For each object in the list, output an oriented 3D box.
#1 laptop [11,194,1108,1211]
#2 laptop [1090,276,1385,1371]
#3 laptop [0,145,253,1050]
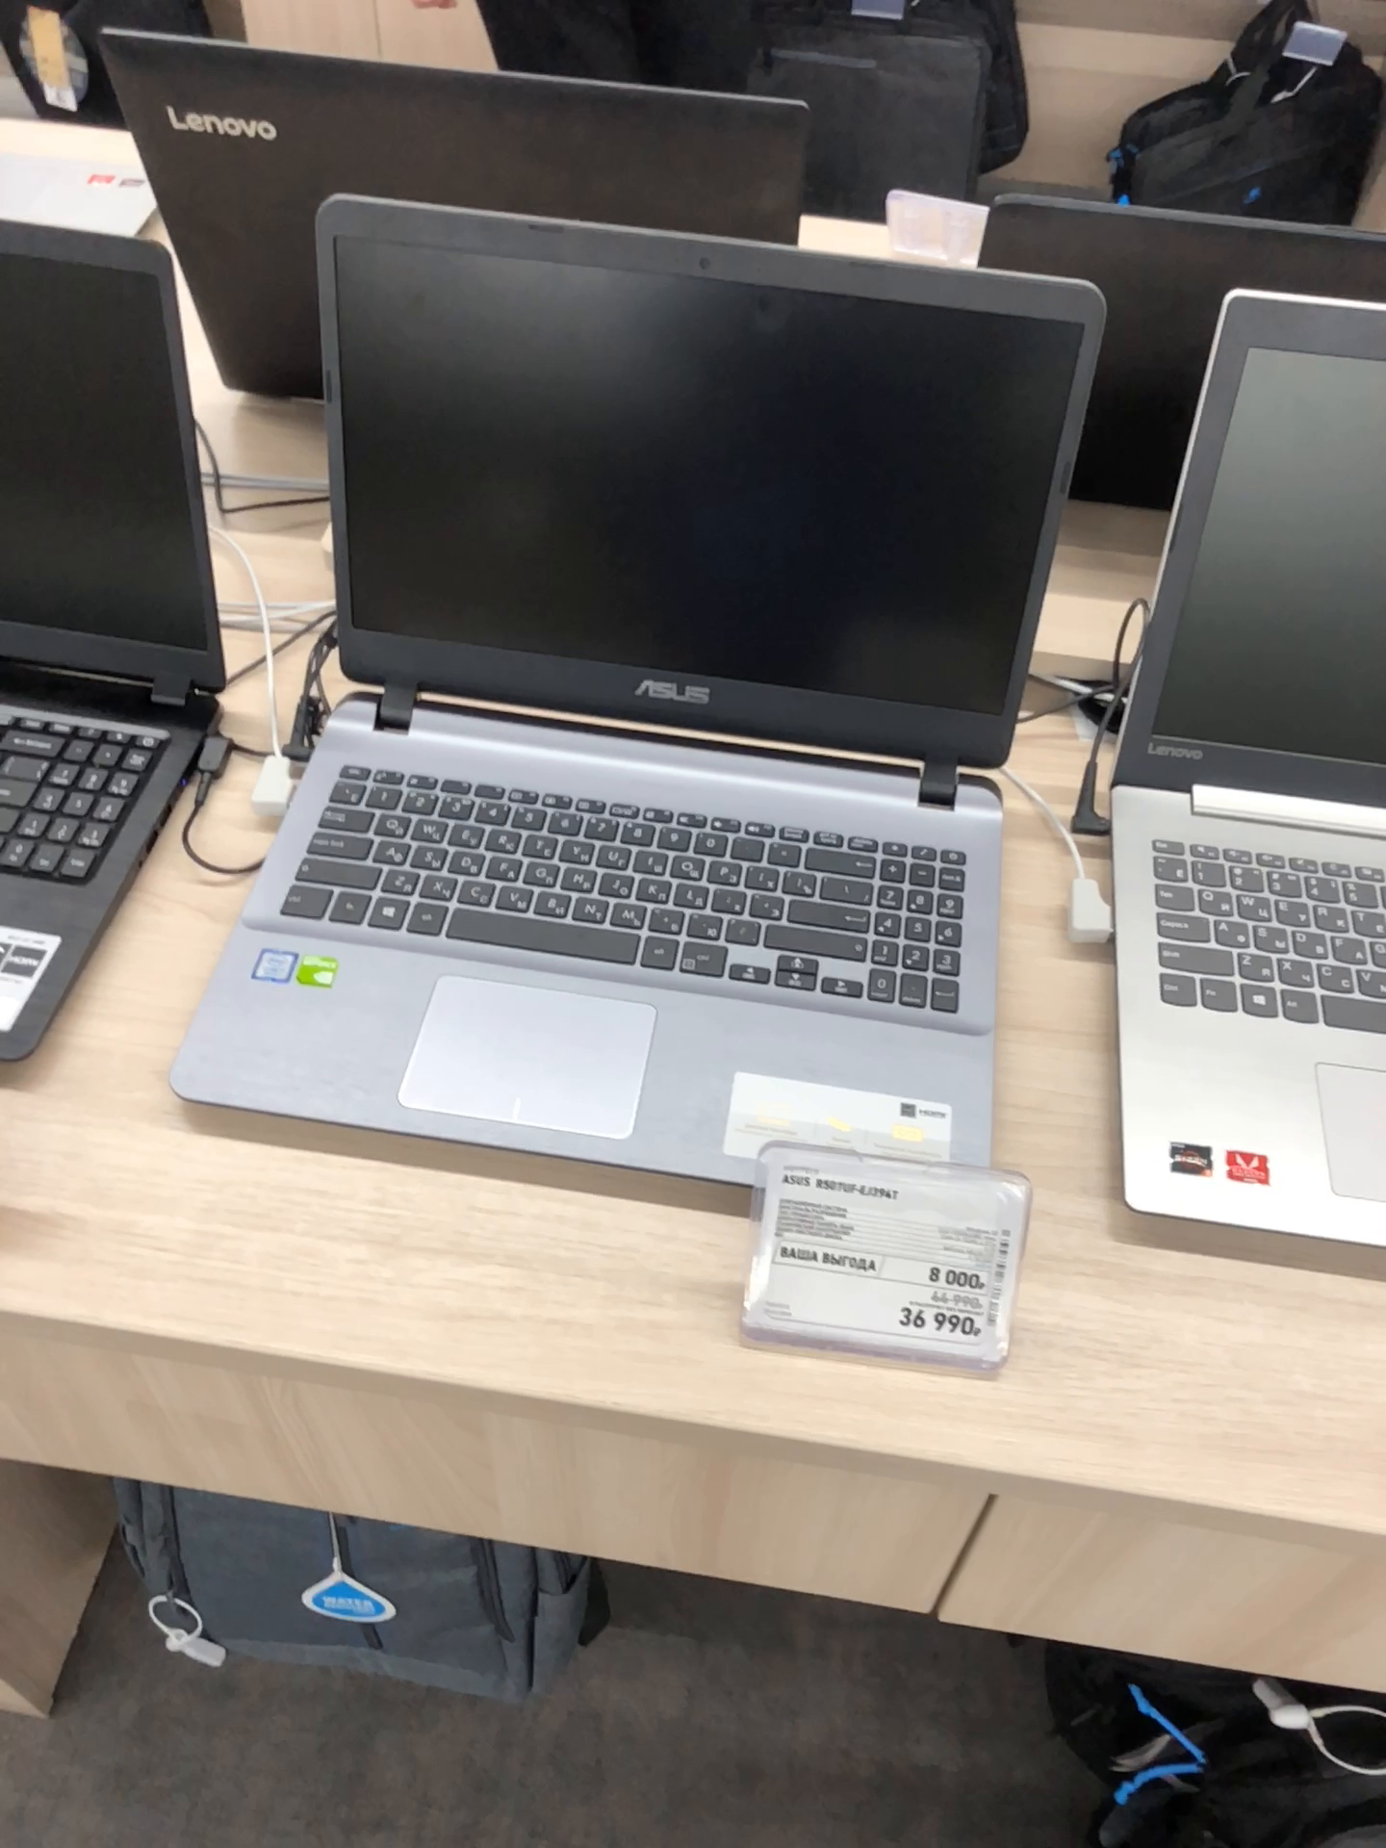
[{"bbox_3d":[-0.025,-0.104,0.660,0.345,0.226,0.330,8,51,3],"label":"laptop"},{"bbox_3d":[0.395,-0.052,0.645,0.370,0.220,0.333,7,52,2],"label":"laptop"},{"bbox_3d":[-0.434,-0.151,0.684,0.332,0.222,0.292,10,51,4],"label":"laptop"}]
